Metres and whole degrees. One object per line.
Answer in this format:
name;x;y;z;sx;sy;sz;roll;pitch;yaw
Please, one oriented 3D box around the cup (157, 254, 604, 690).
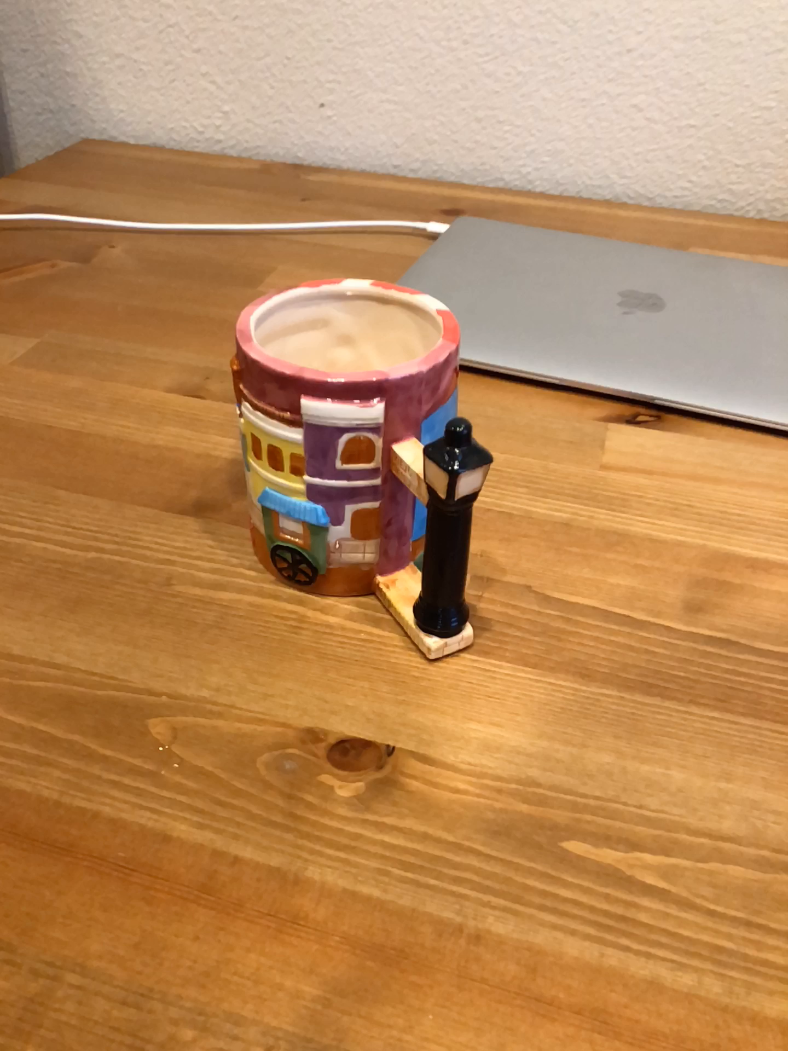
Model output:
cup;-0.009;-0.029;0.327;0.090;0.090;0.130;-28;46;-33
